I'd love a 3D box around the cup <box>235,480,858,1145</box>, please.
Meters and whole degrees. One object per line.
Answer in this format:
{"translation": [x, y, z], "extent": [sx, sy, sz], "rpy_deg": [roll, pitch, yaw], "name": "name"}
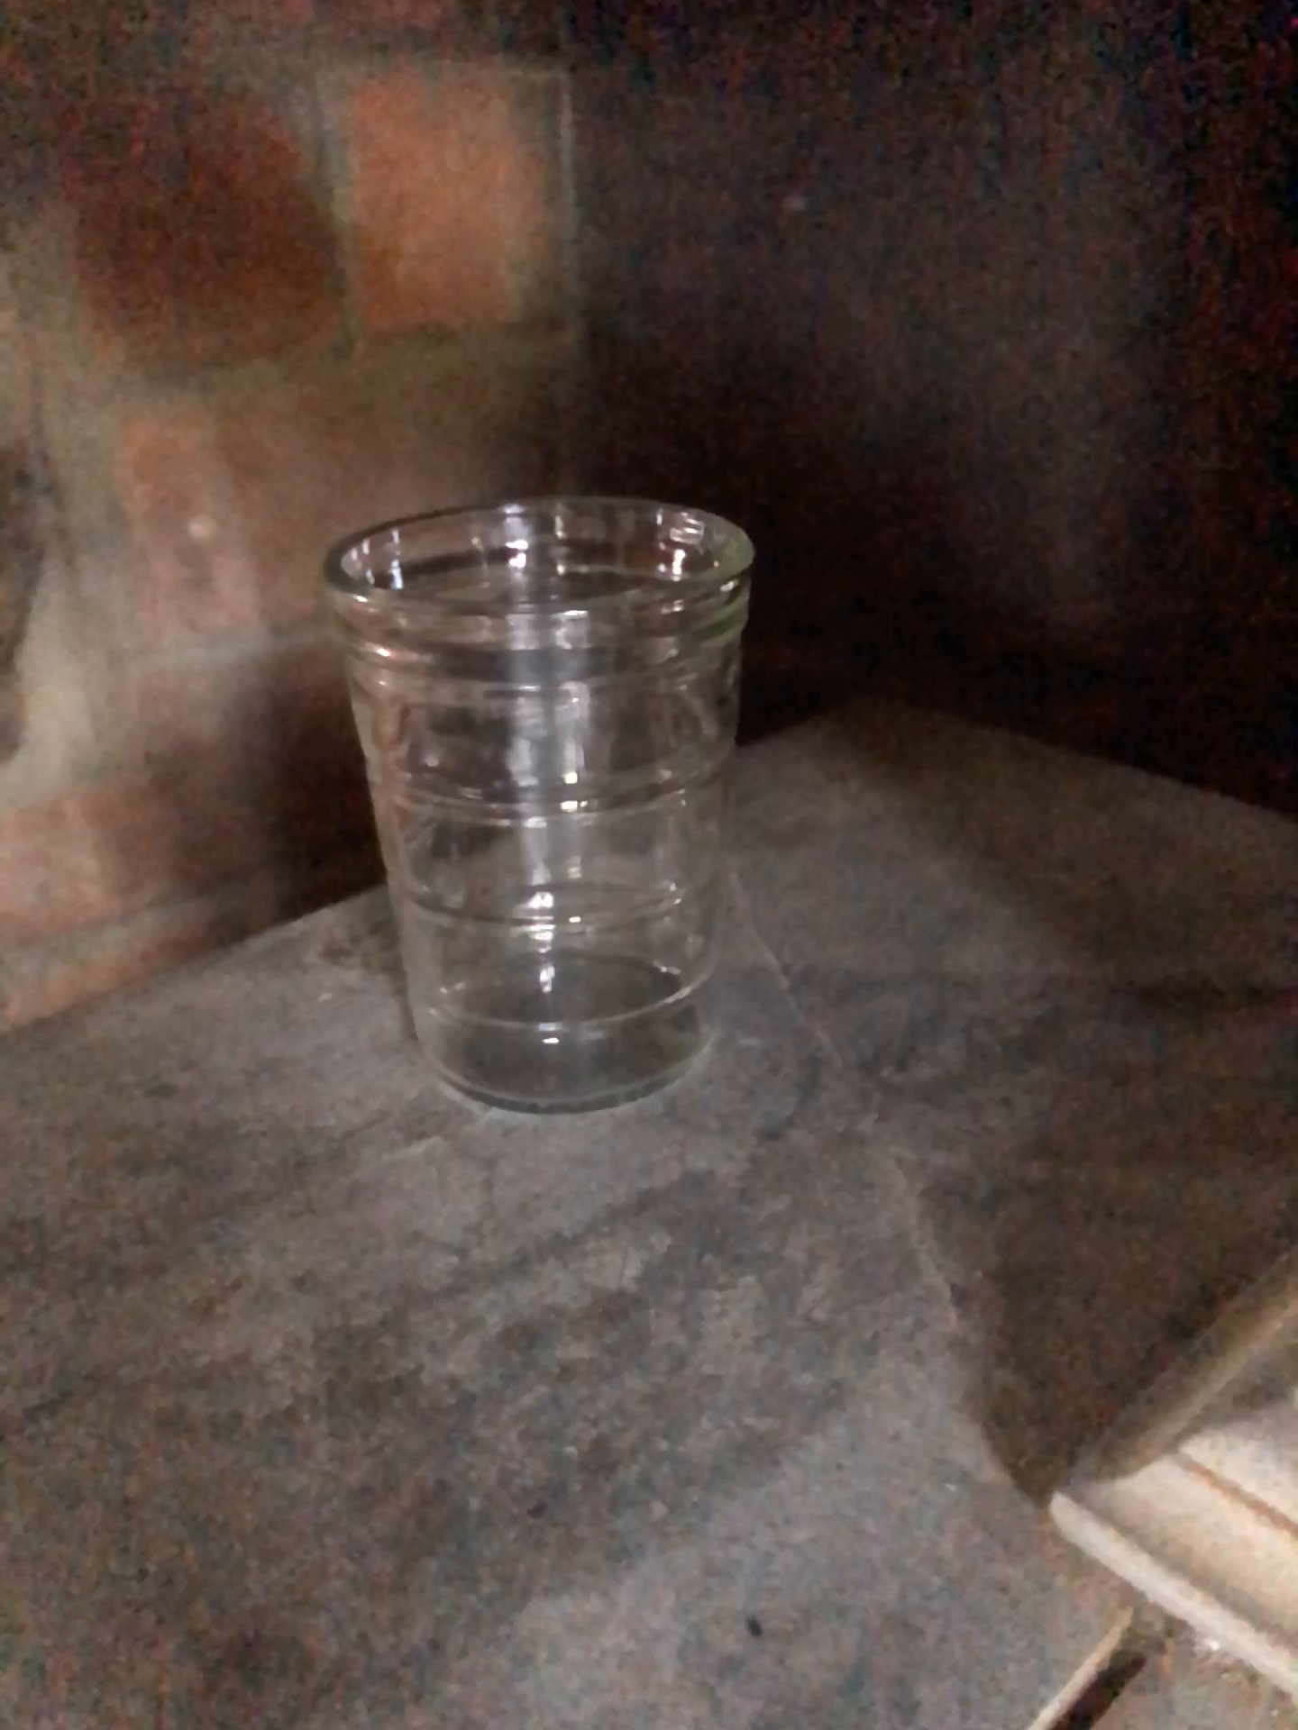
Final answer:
{"translation": [-0.010, -0.014, 0.236], "extent": [0.070, 0.080, 0.070], "rpy_deg": [-2, 25, 1], "name": "cup"}
